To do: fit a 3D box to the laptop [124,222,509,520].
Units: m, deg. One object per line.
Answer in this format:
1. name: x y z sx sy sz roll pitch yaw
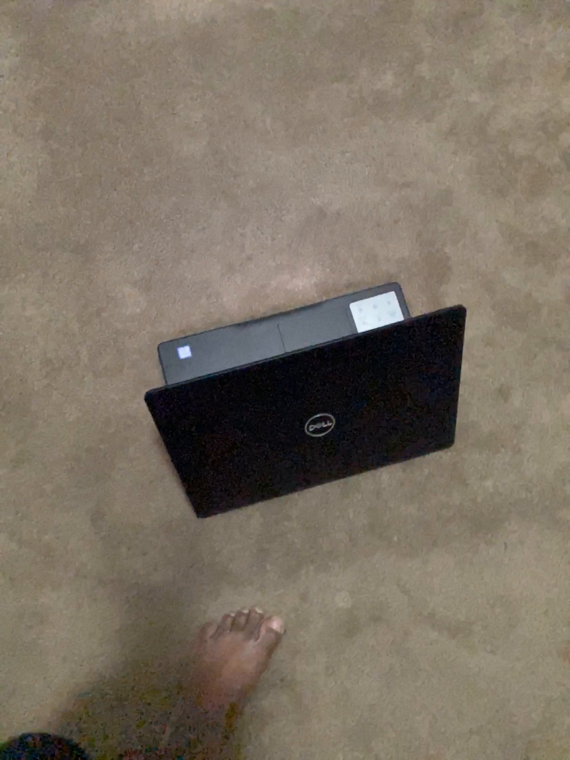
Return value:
1. laptop: 0.028 -0.001 0.748 0.376 0.202 0.252 -15 78 -3
